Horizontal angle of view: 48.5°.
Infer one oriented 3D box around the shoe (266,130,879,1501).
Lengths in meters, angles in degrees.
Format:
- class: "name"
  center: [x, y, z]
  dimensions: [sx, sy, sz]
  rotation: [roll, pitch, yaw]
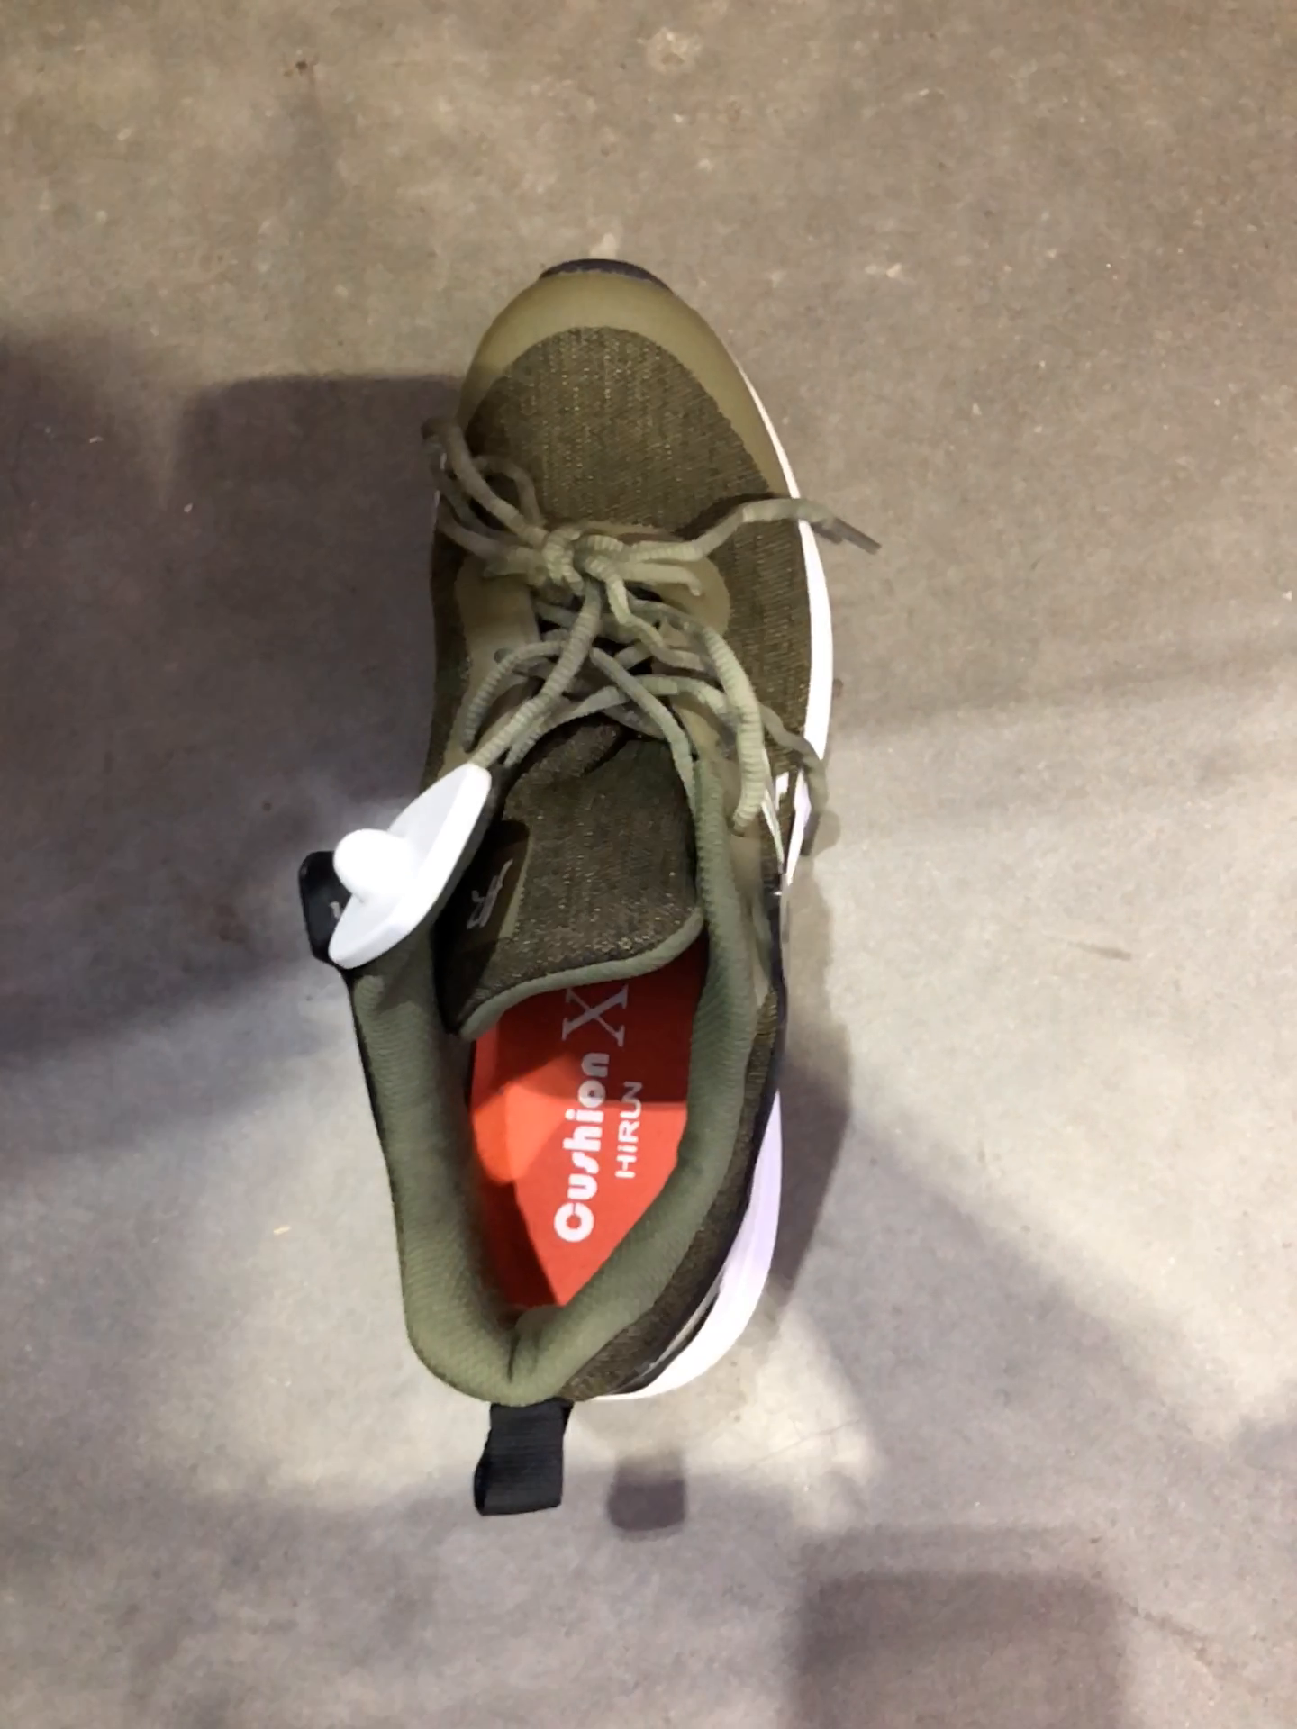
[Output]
- class: "shoe"
  center: [-0.018, -0.012, 0.358]
  dimensions: [0.120, 0.100, 0.290]
  rotation: [-3, 85, 2]
